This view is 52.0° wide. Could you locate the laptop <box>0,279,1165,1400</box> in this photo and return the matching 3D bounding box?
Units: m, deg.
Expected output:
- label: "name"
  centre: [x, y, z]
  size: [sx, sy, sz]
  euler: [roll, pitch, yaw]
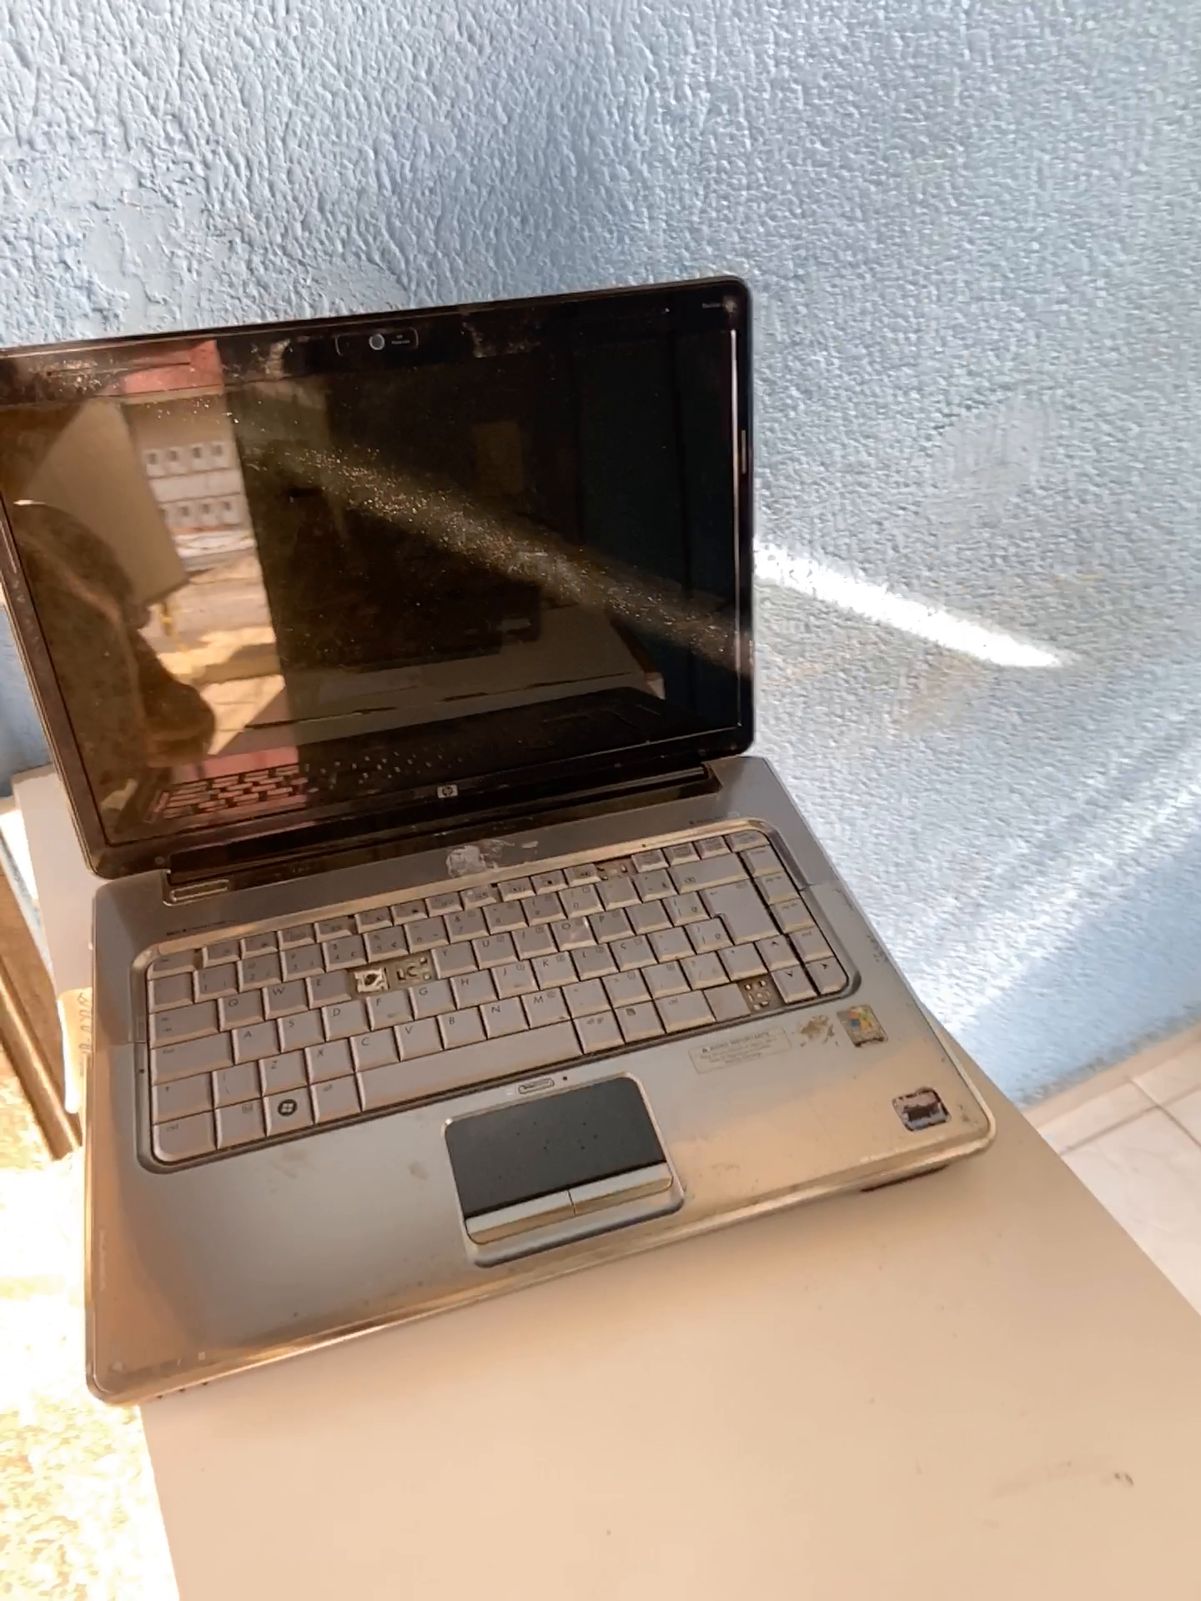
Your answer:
- label: "laptop"
  centre: [-0.054, -0.023, 0.505]
  size: [0.352, 0.233, 0.330]
  euler: [-11, 42, -13]
